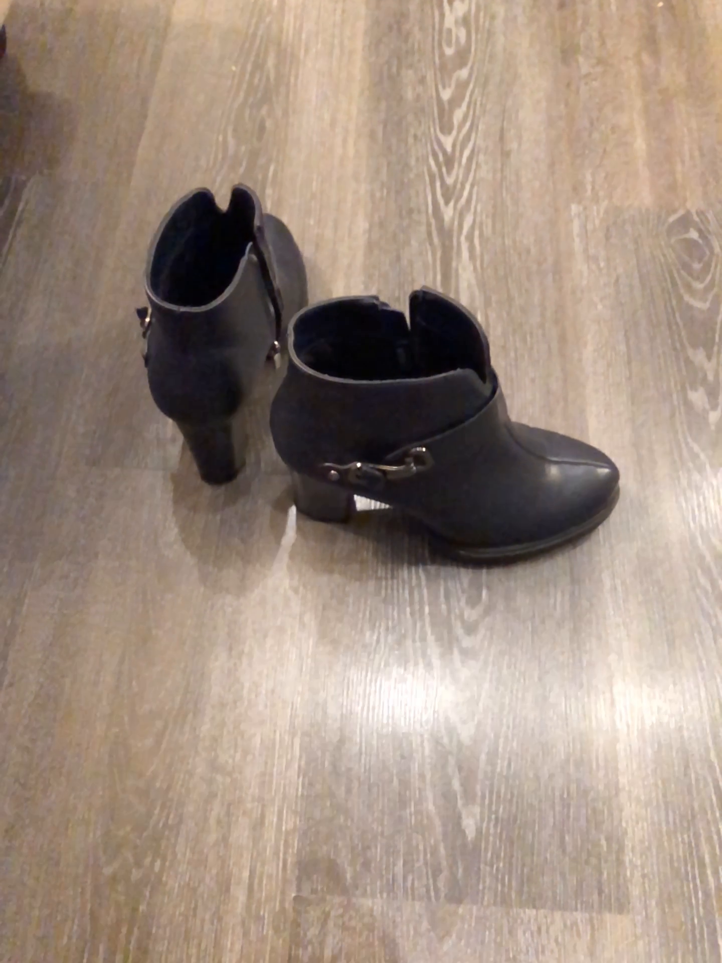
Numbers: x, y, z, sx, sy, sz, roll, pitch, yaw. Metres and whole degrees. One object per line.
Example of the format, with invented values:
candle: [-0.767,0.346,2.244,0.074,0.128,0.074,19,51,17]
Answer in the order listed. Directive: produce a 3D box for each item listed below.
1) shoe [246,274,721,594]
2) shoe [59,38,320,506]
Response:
shoe: [0.065,-0.015,0.478,0.230,0.199,0.090,4,64,2]
shoe: [-0.092,-0.130,0.526,0.090,0.179,0.231,6,64,3]
